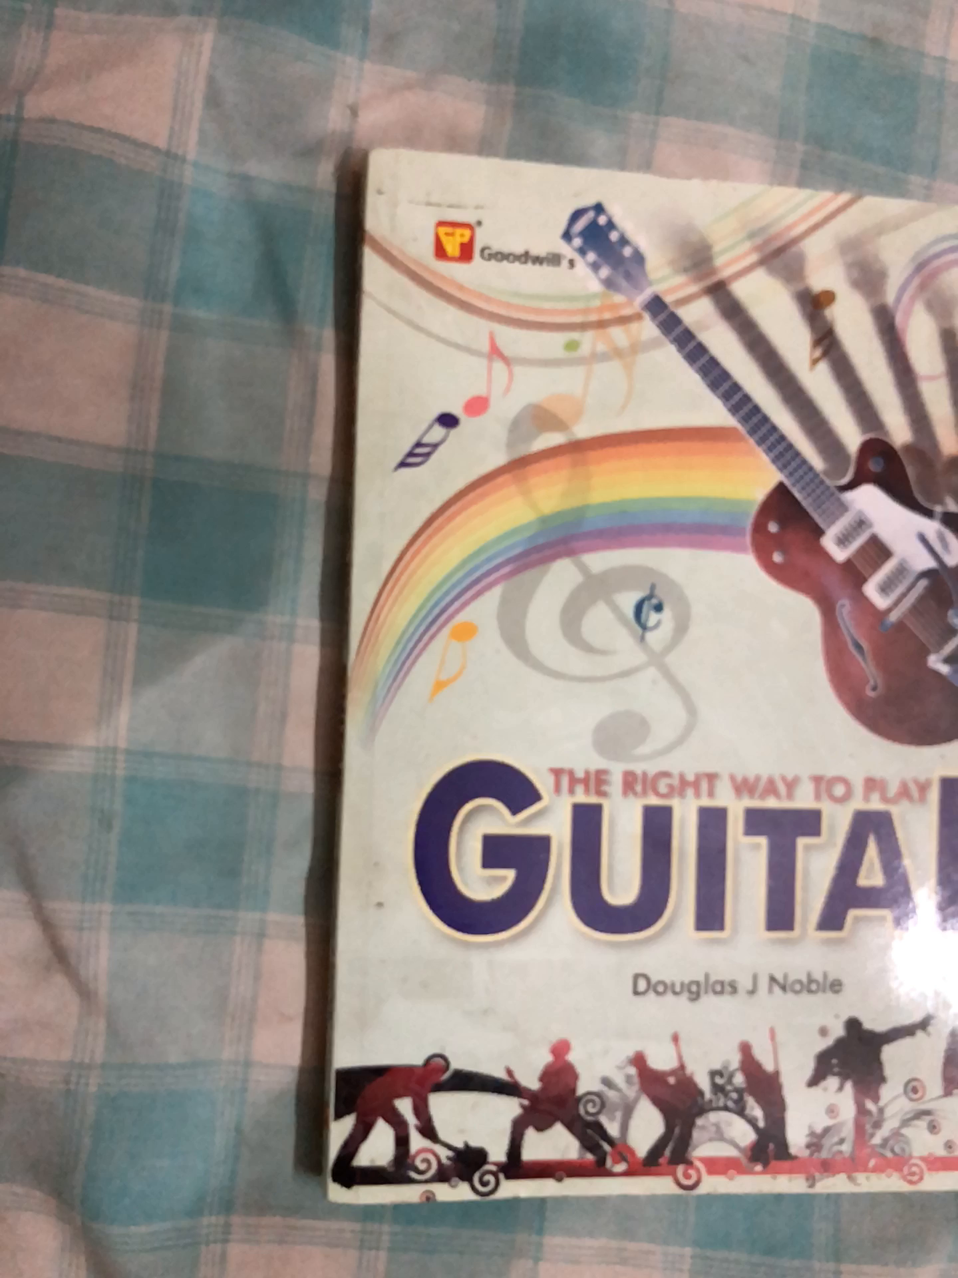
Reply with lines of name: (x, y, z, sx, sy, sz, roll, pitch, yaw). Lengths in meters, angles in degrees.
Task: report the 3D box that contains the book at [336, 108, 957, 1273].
book: (0.062, 0.011, 0.250, 0.180, 0.030, 0.240, 2, 87, -7)
